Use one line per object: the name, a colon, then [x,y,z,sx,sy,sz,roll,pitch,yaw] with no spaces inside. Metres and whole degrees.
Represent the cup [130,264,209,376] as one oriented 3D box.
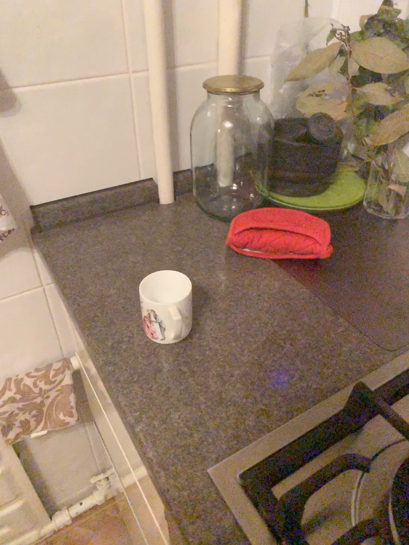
cup: [-0.039,0.050,0.464,0.060,0.069,0.091,-13,38,-16]
